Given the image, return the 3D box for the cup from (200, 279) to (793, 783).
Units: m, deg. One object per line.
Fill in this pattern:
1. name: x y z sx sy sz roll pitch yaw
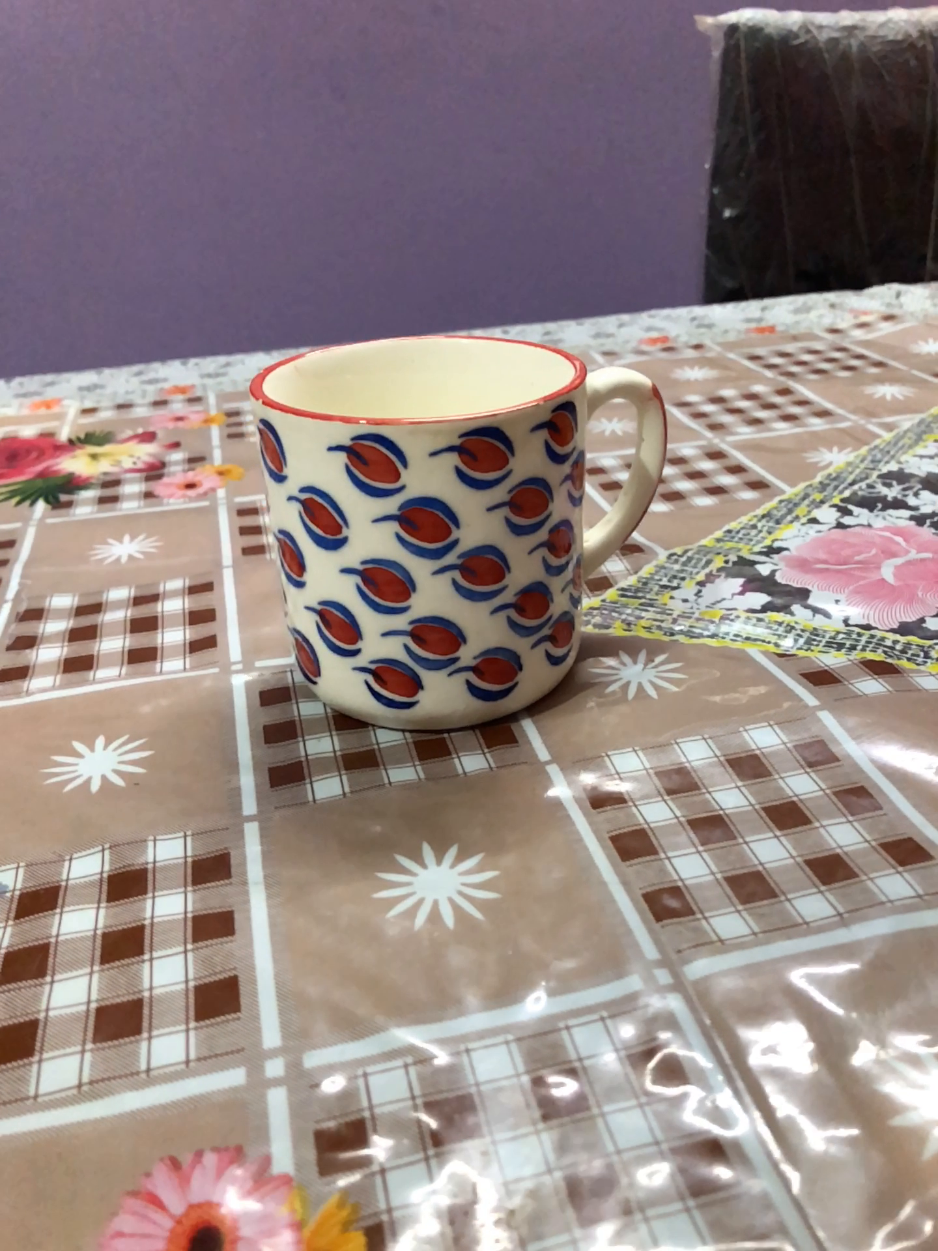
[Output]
1. cup: 0.005 -0.032 0.255 0.110 0.080 0.080 -15 30 -23
